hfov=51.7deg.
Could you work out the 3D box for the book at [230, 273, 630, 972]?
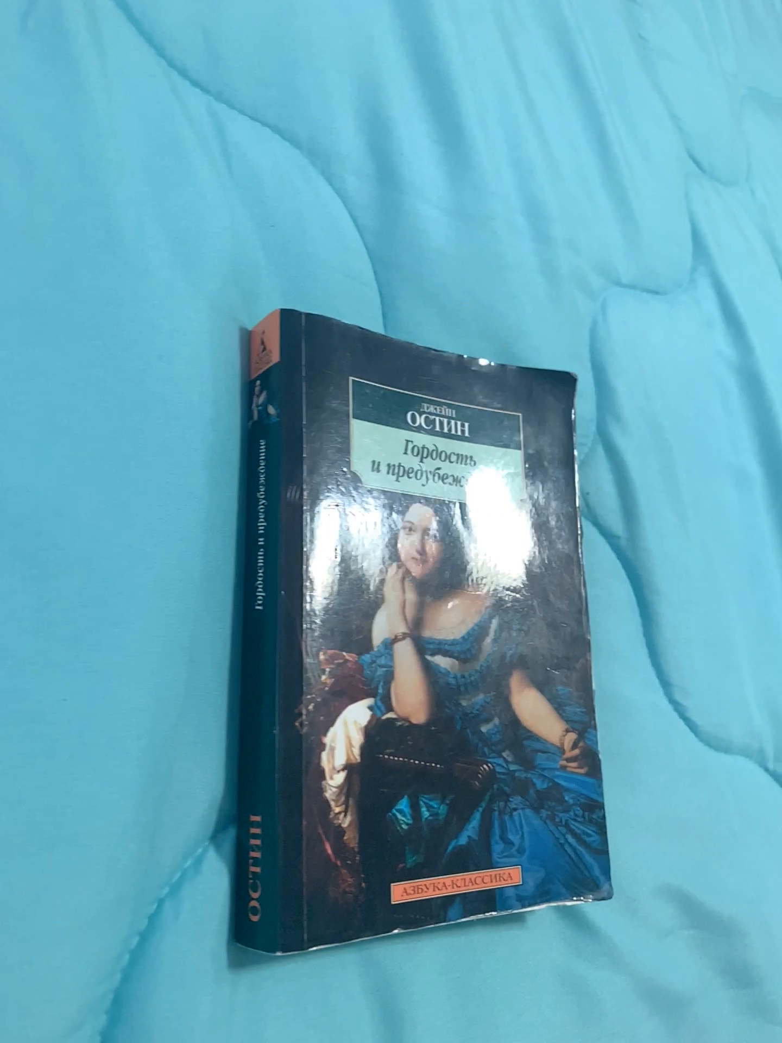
[{"bbox_3d":[0.013,0.028,0.249,0.110,0.044,0.173,10,71,-37],"label":"book"}]
